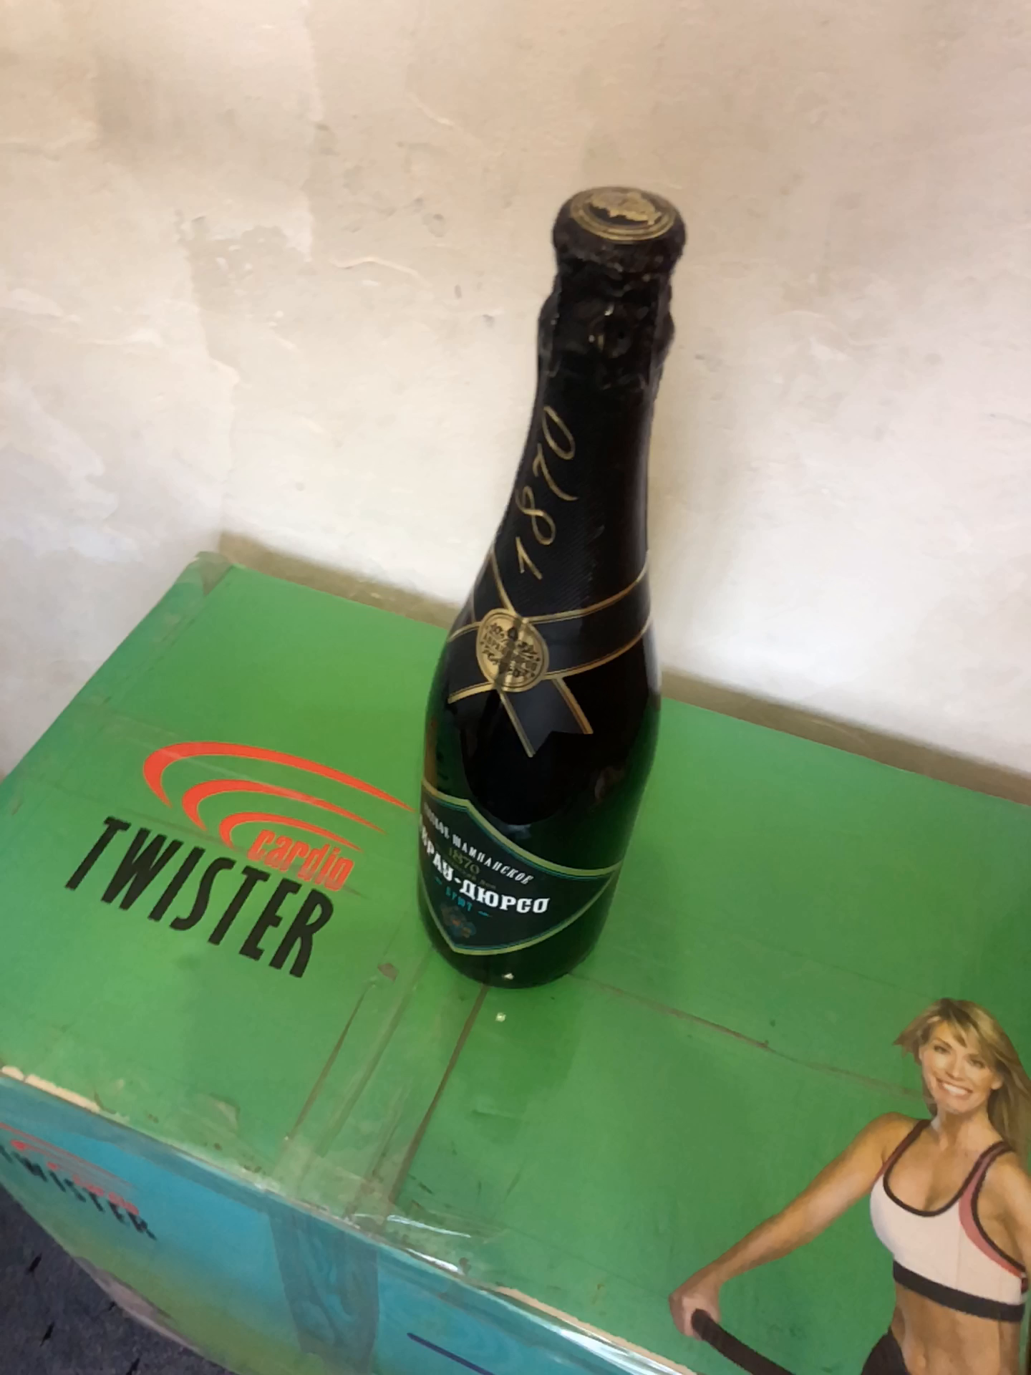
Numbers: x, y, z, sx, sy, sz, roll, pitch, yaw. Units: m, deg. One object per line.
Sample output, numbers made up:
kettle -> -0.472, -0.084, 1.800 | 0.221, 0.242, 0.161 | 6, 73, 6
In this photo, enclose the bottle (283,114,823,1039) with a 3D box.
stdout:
bottle -> 0.005, -0.008, 0.379 | 0.090, 0.300, 0.090 | 1, 48, -1
